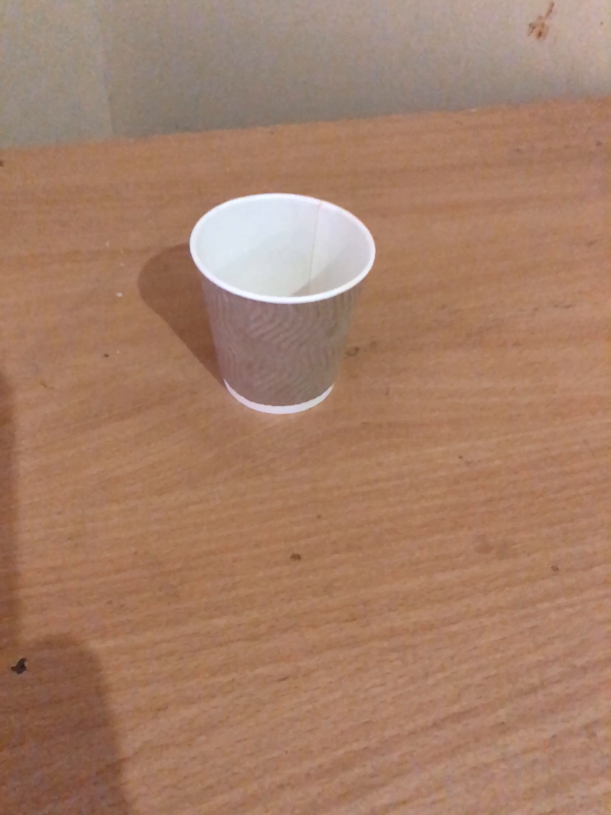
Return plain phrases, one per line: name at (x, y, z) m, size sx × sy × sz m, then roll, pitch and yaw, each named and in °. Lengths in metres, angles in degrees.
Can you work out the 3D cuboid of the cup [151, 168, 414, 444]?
cup at (-0.009, -0.044, 0.284) m, size 0.074 × 0.064 × 0.067 m, roll 34°, pitch 57°, yaw 25°
